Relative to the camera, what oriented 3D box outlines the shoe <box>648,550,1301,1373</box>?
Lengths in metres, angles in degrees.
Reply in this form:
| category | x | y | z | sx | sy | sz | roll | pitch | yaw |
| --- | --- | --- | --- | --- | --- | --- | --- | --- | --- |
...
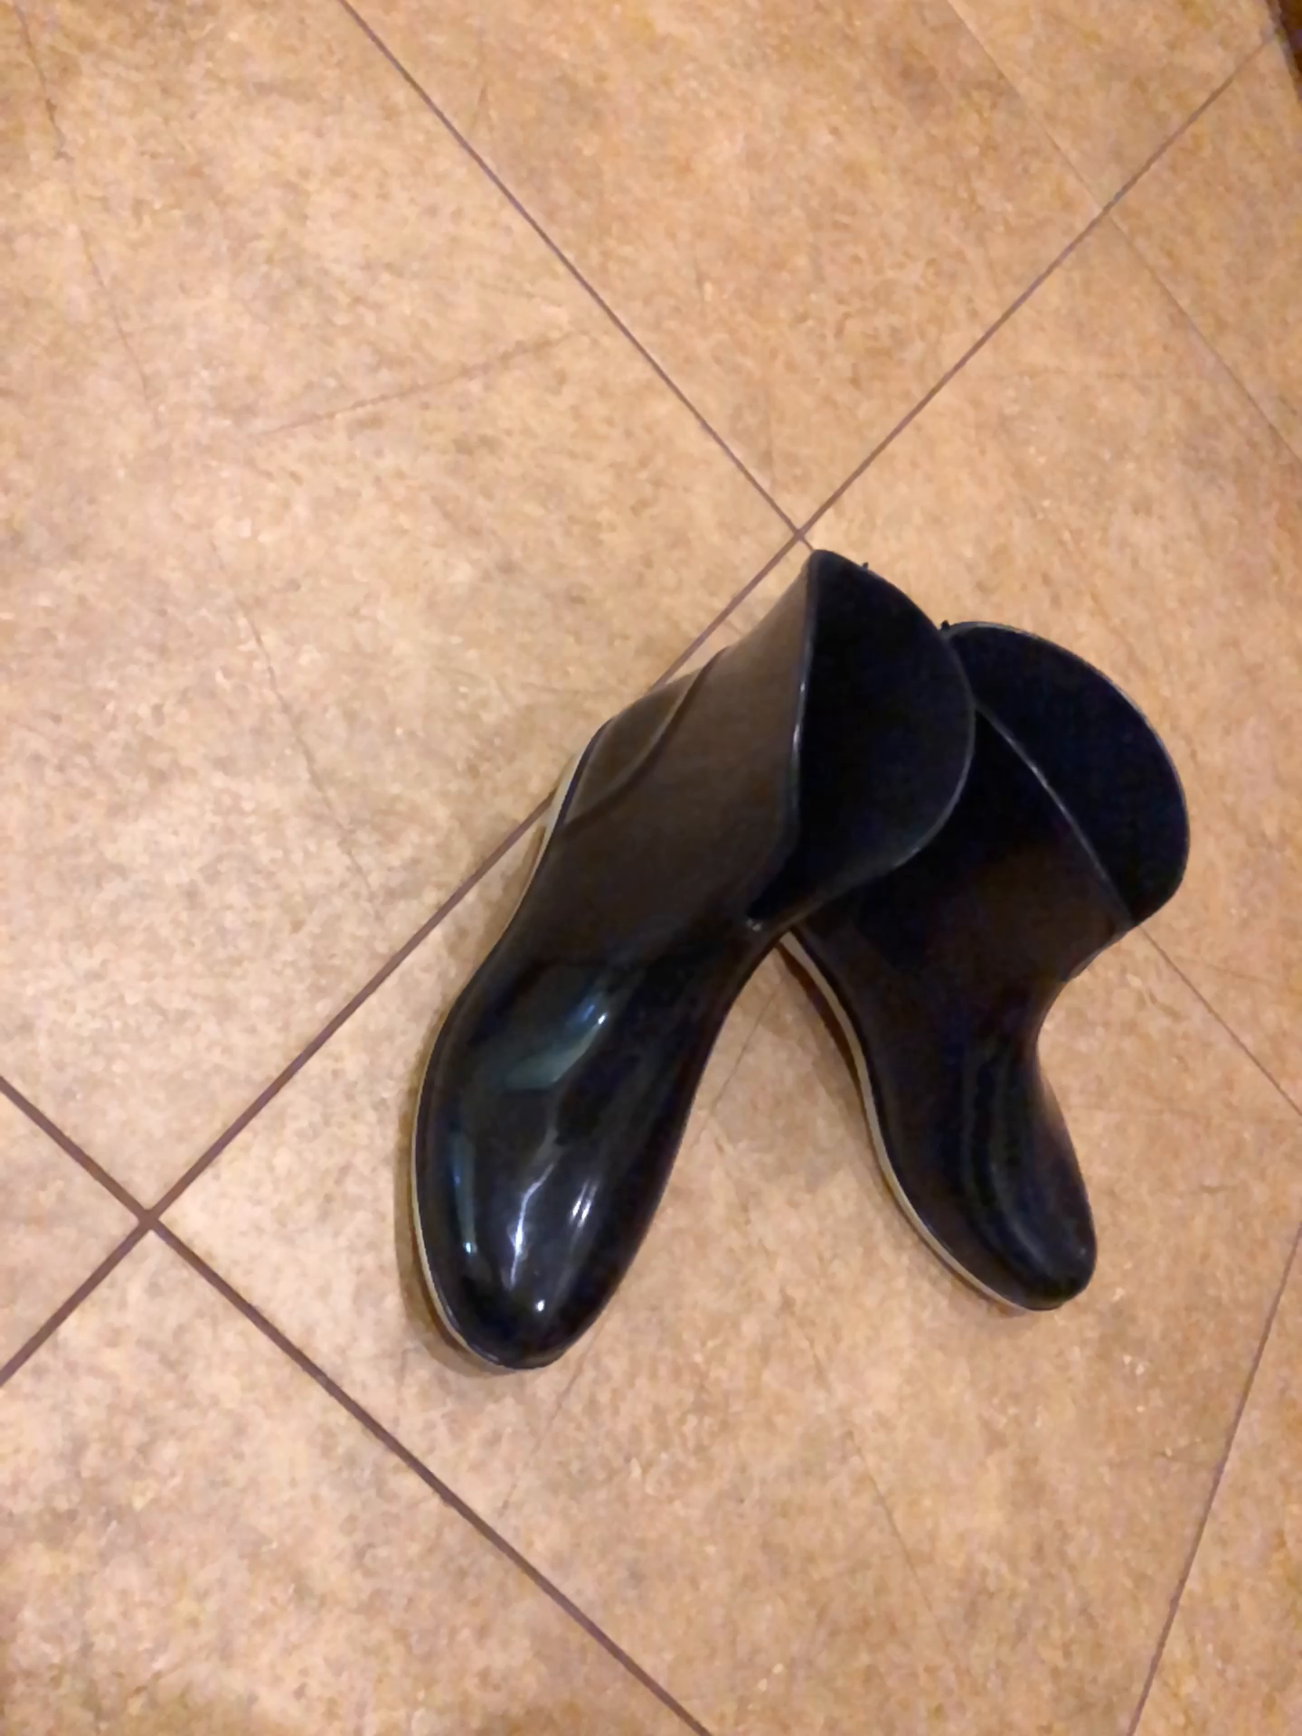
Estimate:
| category | x | y | z | sx | sy | sz | roll | pitch | yaw |
| --- | --- | --- | --- | --- | --- | --- | --- | --- | --- |
| shoe | 0.134 | 0.045 | 0.503 | 0.090 | 0.169 | 0.240 | -30 | 90 | -37 |

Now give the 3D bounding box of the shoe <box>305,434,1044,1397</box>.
| category | x | y | z | sx | sy | sz | roll | pitch | yaw |
| --- | --- | --- | --- | --- | --- | --- | --- | --- | --- |
| shoe | 0.009 | 0.023 | 0.433 | 0.090 | 0.169 | 0.241 | 30 | 59 | -21 |
